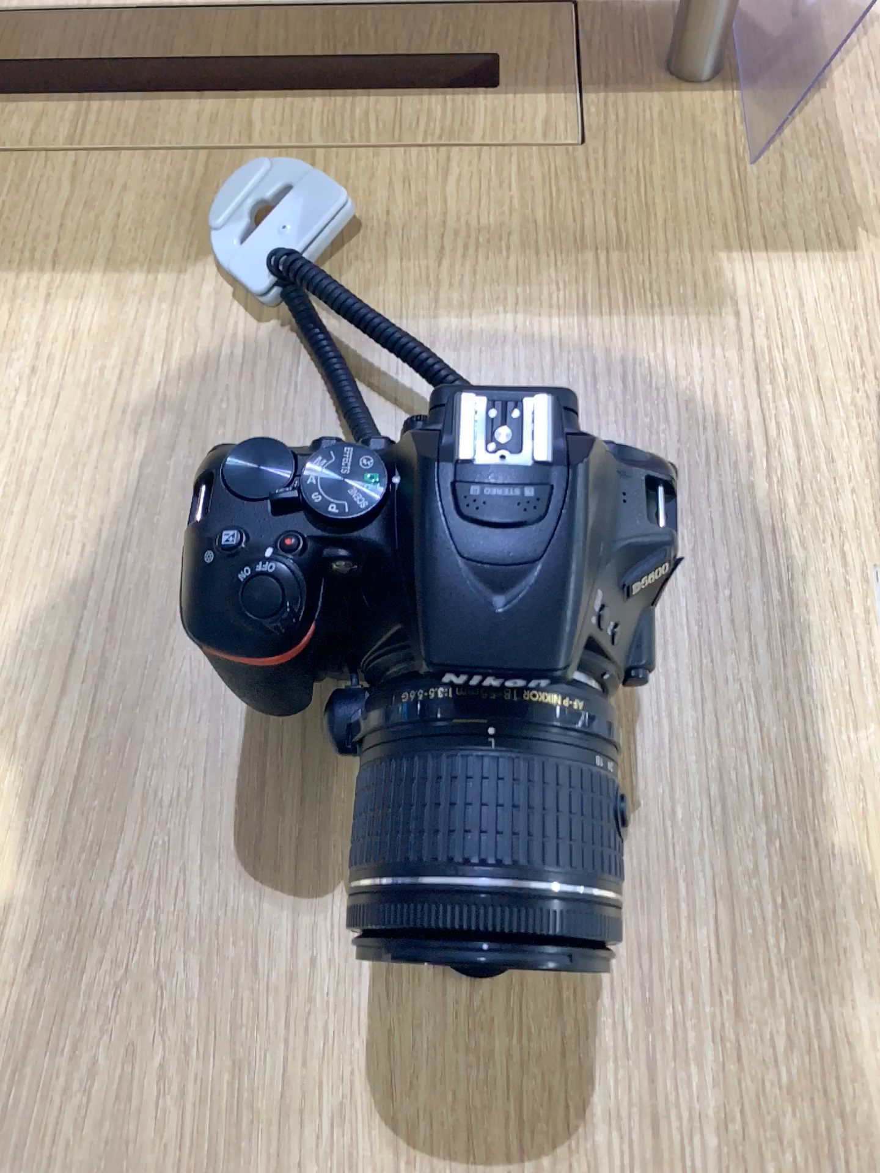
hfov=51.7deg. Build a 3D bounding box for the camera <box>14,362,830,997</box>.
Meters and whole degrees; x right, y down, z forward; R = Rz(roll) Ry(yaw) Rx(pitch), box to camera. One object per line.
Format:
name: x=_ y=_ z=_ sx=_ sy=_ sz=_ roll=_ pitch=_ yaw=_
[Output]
camera: x=-0.001 y=0.024 z=0.197 sx=0.124 sy=0.080 sz=0.114 roll=2 pitch=65 yaw=2
